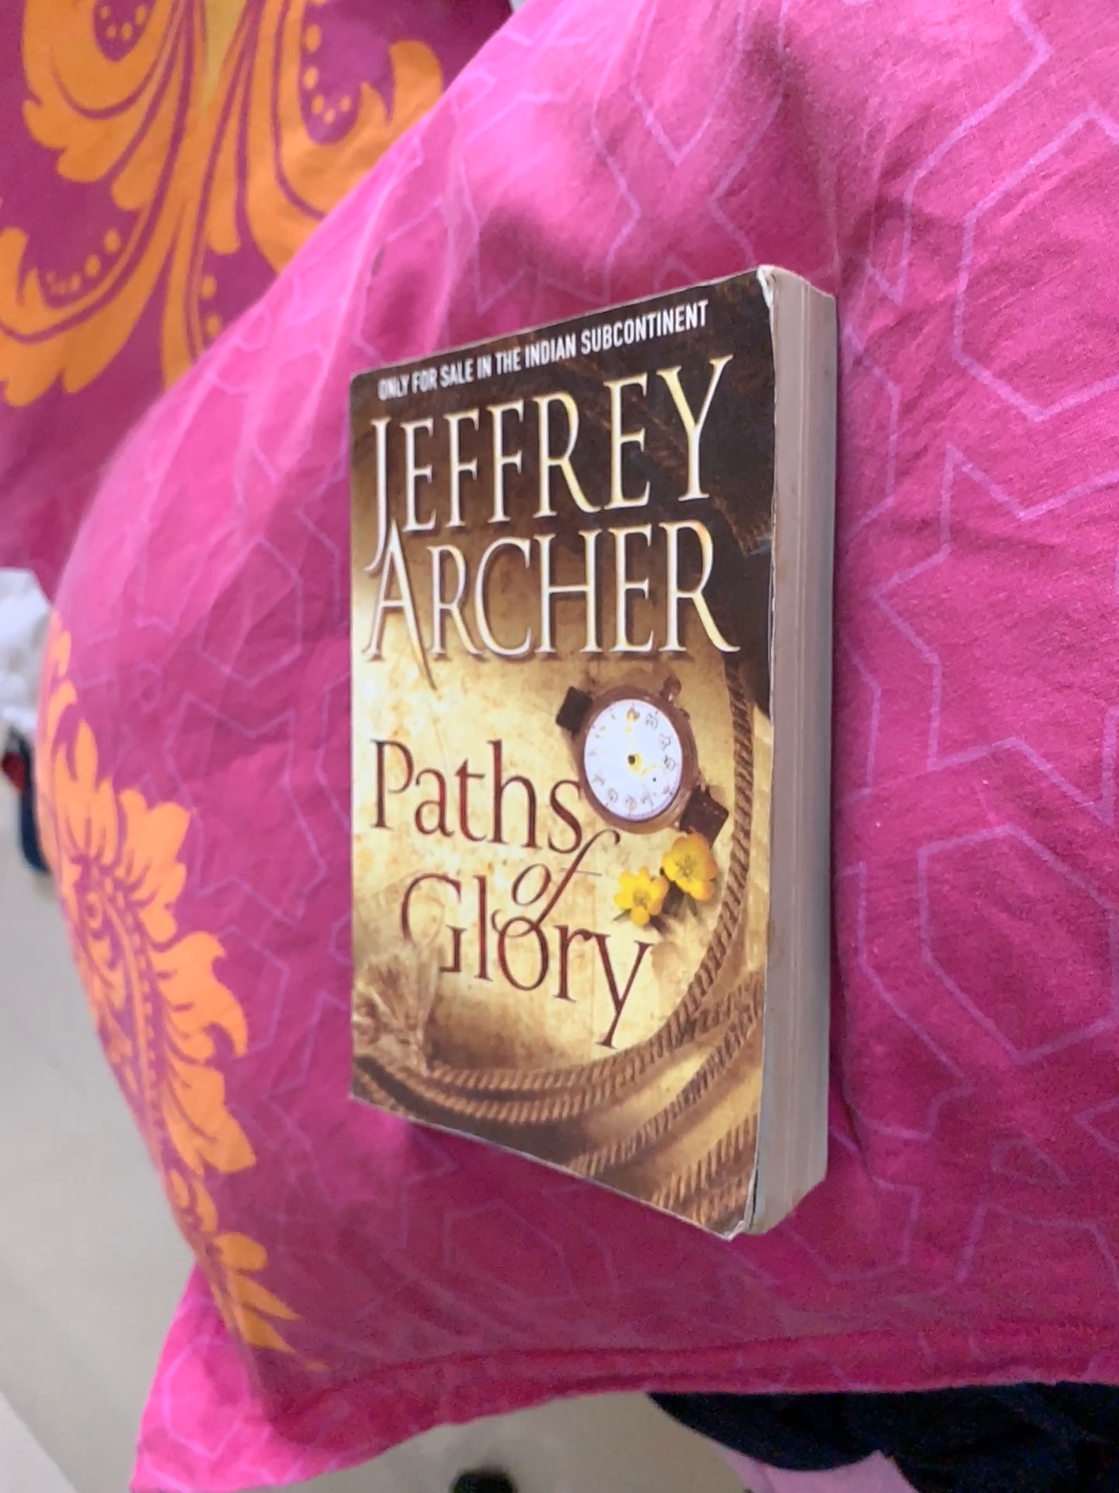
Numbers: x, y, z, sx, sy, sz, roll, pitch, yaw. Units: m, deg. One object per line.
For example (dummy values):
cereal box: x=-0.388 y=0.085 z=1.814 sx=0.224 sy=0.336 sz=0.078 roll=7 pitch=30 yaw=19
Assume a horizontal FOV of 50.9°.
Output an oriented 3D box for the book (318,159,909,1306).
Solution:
book: x=0.003 y=-0.003 z=0.240 sx=0.121 sy=0.040 sz=0.180 roll=5 pitch=97 yaw=44
